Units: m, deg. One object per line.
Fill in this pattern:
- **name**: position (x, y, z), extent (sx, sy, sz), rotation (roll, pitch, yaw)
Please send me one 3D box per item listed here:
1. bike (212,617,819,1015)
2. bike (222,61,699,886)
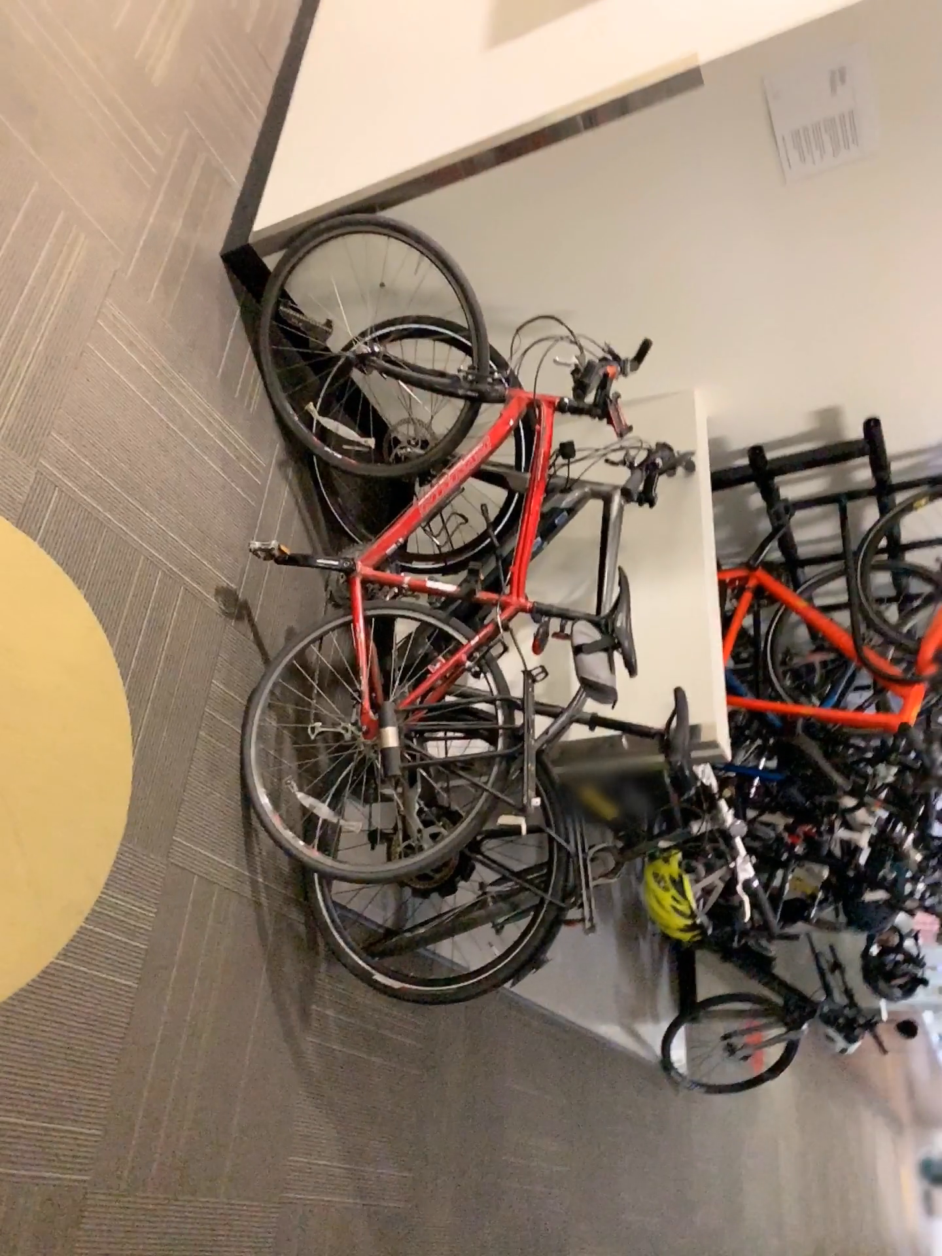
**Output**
- **bike**: position (0.137, 0.515, 2.340), extent (0.695, 1.149, 0.726), rotation (20, 67, -63)
- **bike**: position (-0.017, -0.231, 2.335), extent (0.605, 0.927, 1.612), rotation (17, 69, -64)
